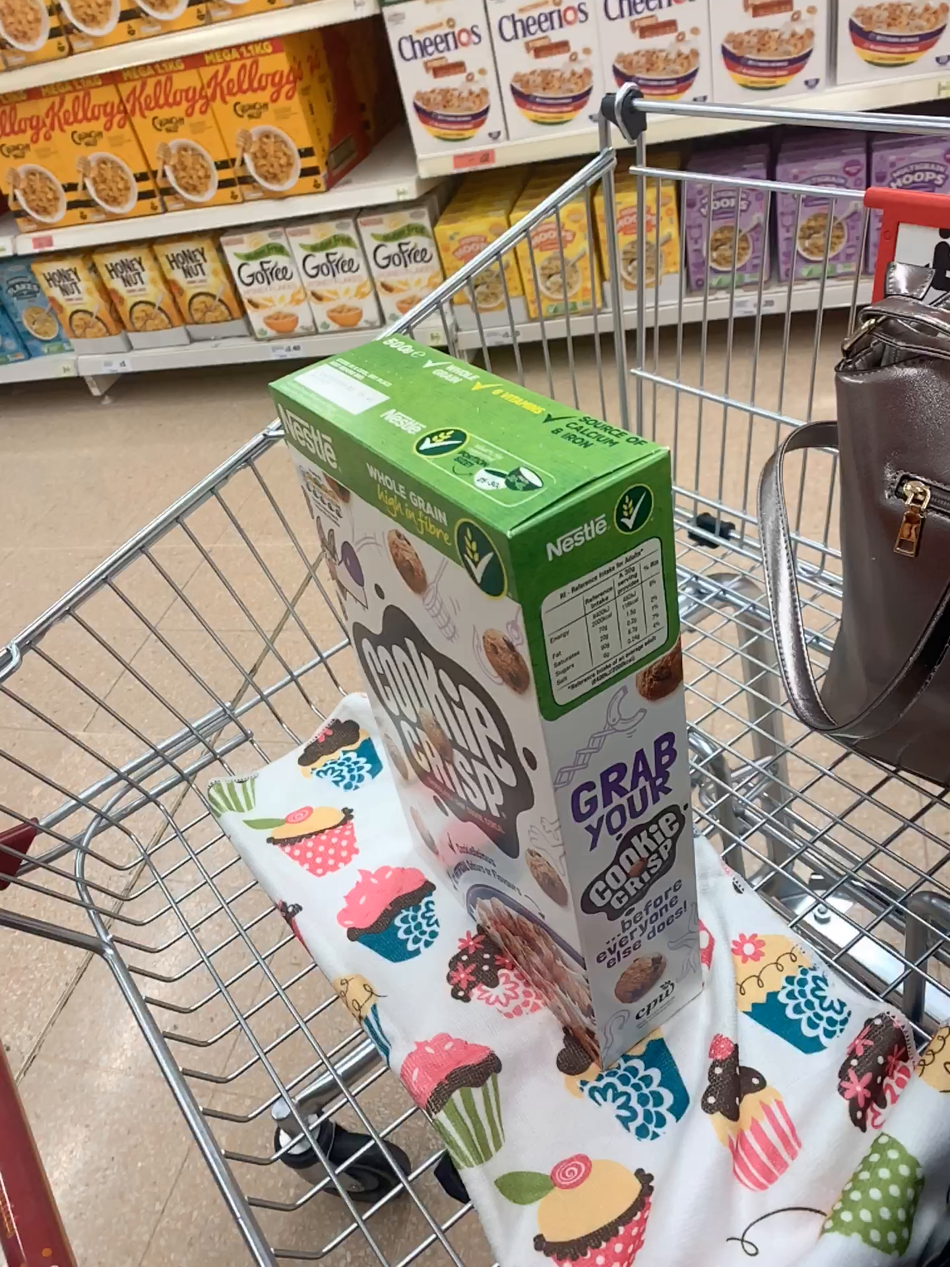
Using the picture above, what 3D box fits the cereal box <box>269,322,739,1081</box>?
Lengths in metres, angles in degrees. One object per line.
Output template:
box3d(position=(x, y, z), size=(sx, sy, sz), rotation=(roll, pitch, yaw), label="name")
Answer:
box3d(position=(0.017, 0.033, 0.474), size=(0.070, 0.307, 0.222), rotation=(-28, 40, -23), label="cereal box")
